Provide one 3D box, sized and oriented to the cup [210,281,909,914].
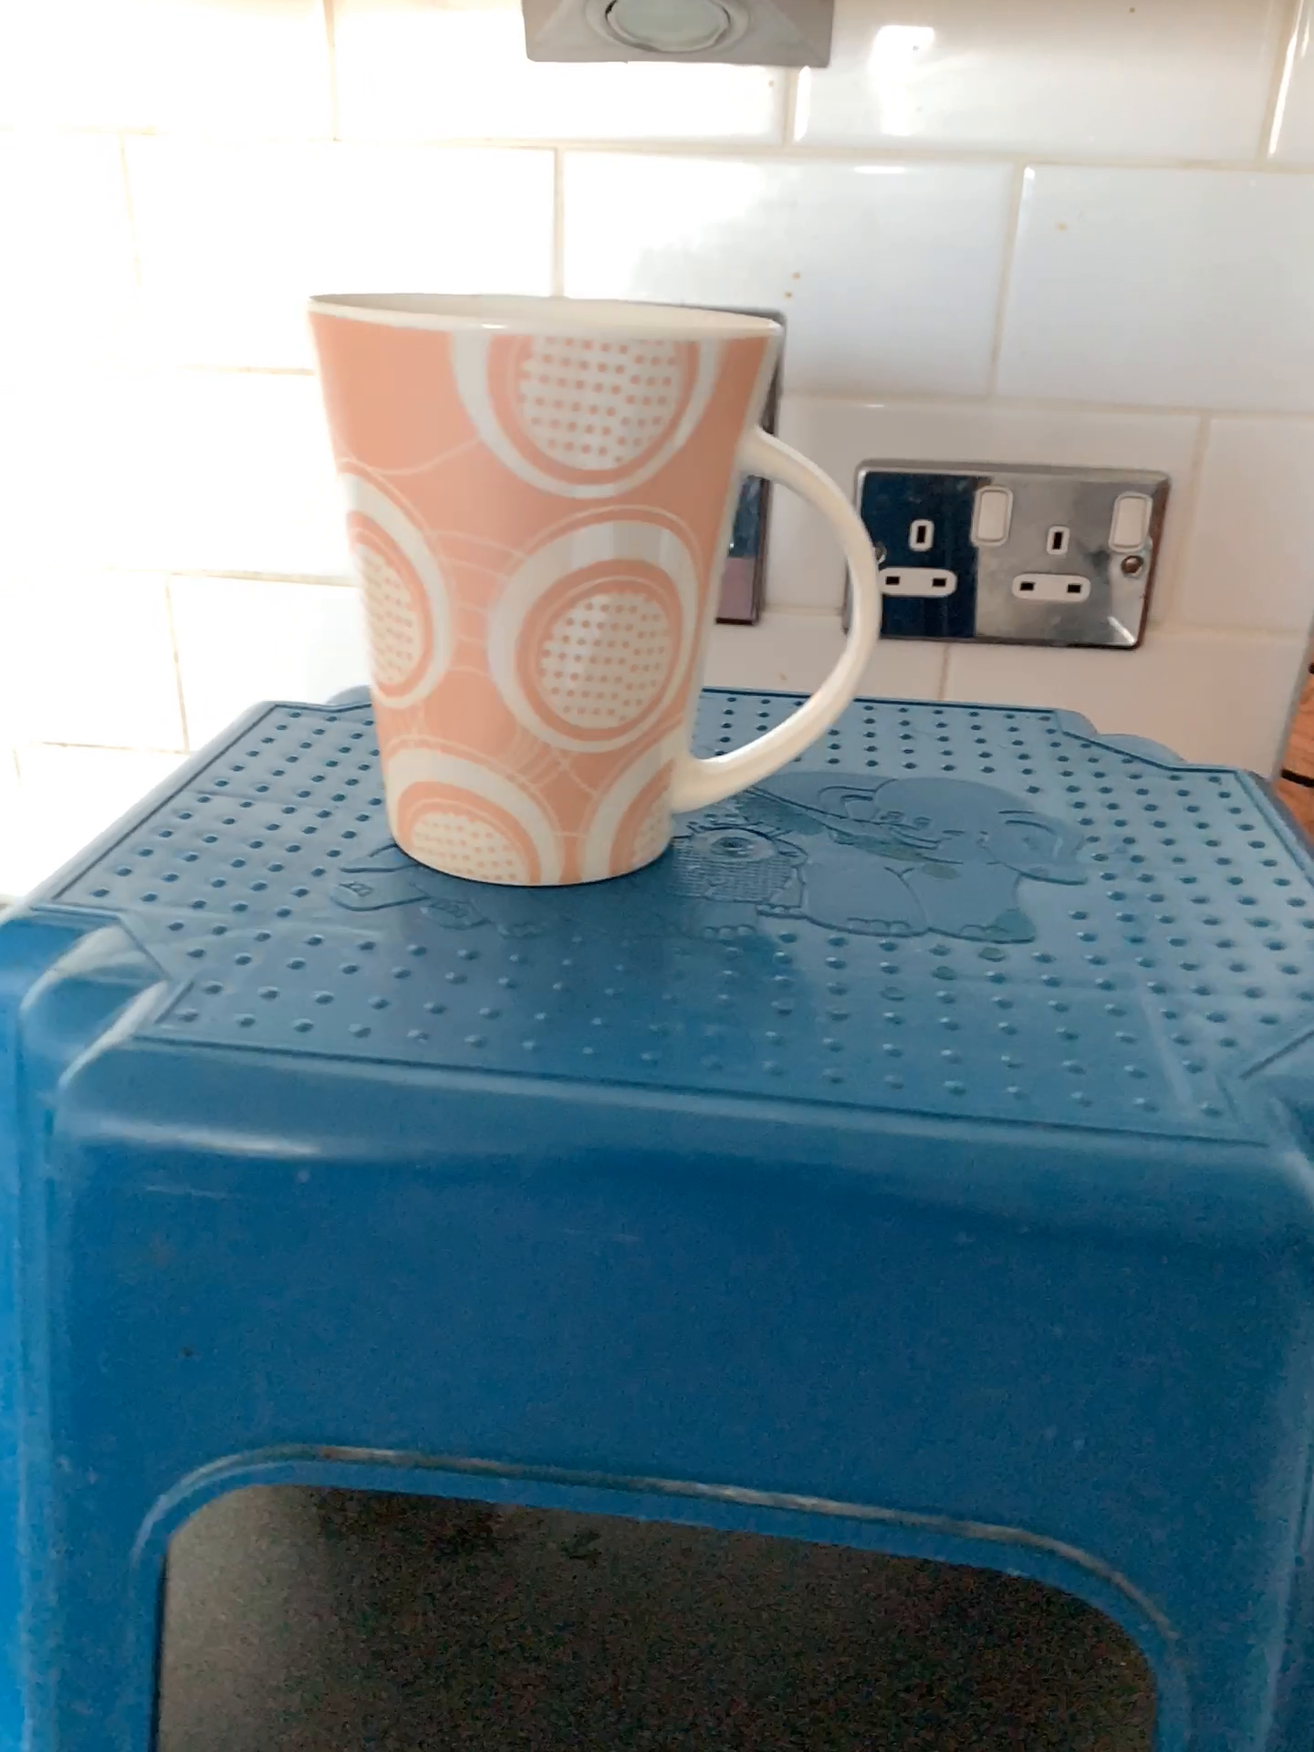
[{"bbox_3d":[-0.016,-0.061,0.280,0.116,0.105,0.078,4,25,4],"label":"cup"}]
